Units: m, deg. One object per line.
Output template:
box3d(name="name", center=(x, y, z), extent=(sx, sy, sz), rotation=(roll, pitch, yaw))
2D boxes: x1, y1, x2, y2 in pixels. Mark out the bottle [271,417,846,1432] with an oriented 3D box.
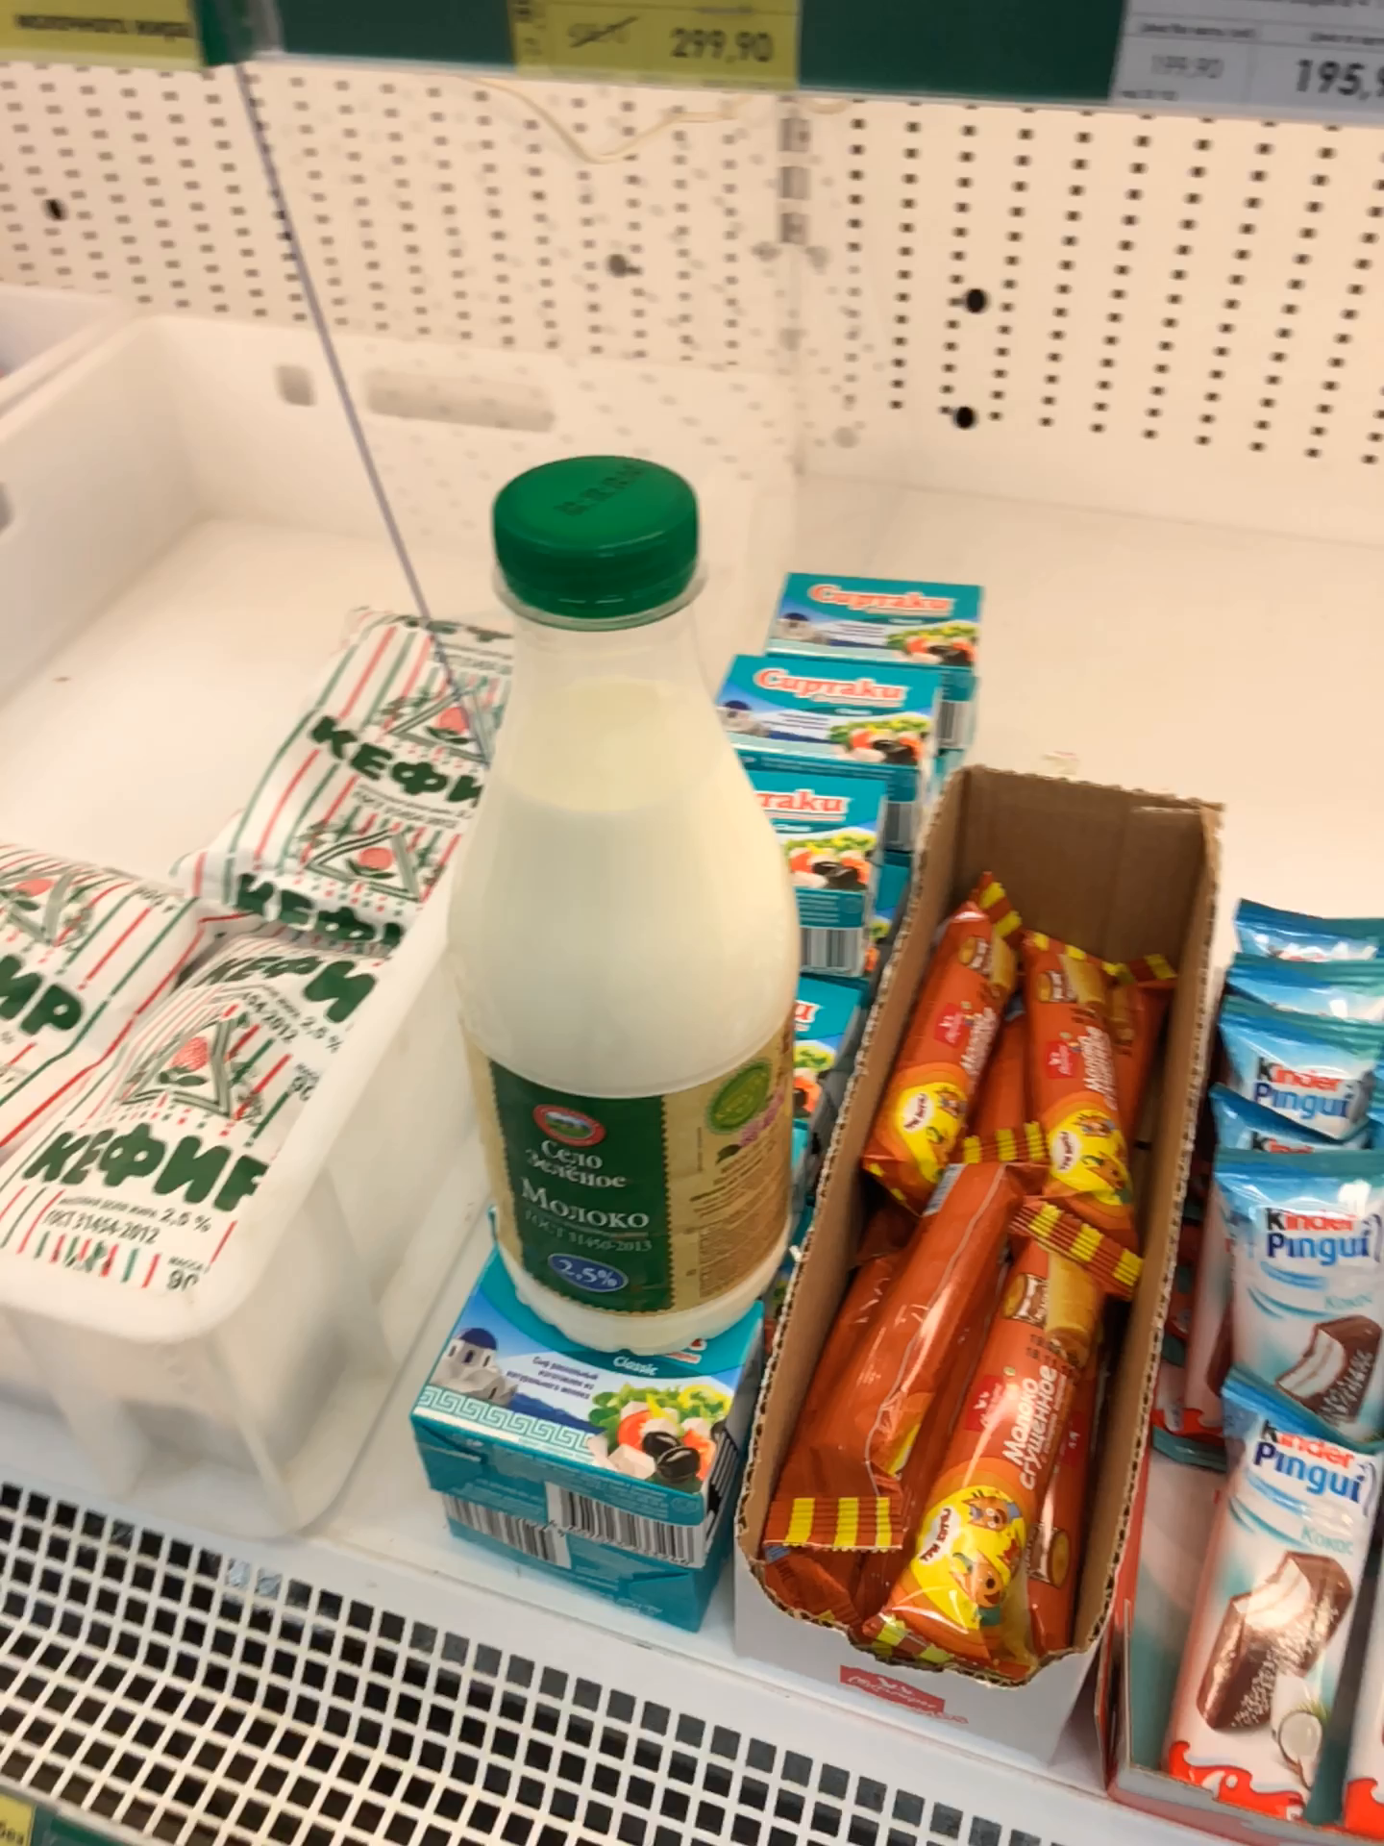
box3d(name="bottle", center=(-0.018, 0.014, 0.372), extent=(0.081, 0.238, 0.085), rotation=(-1, 43, 1))
